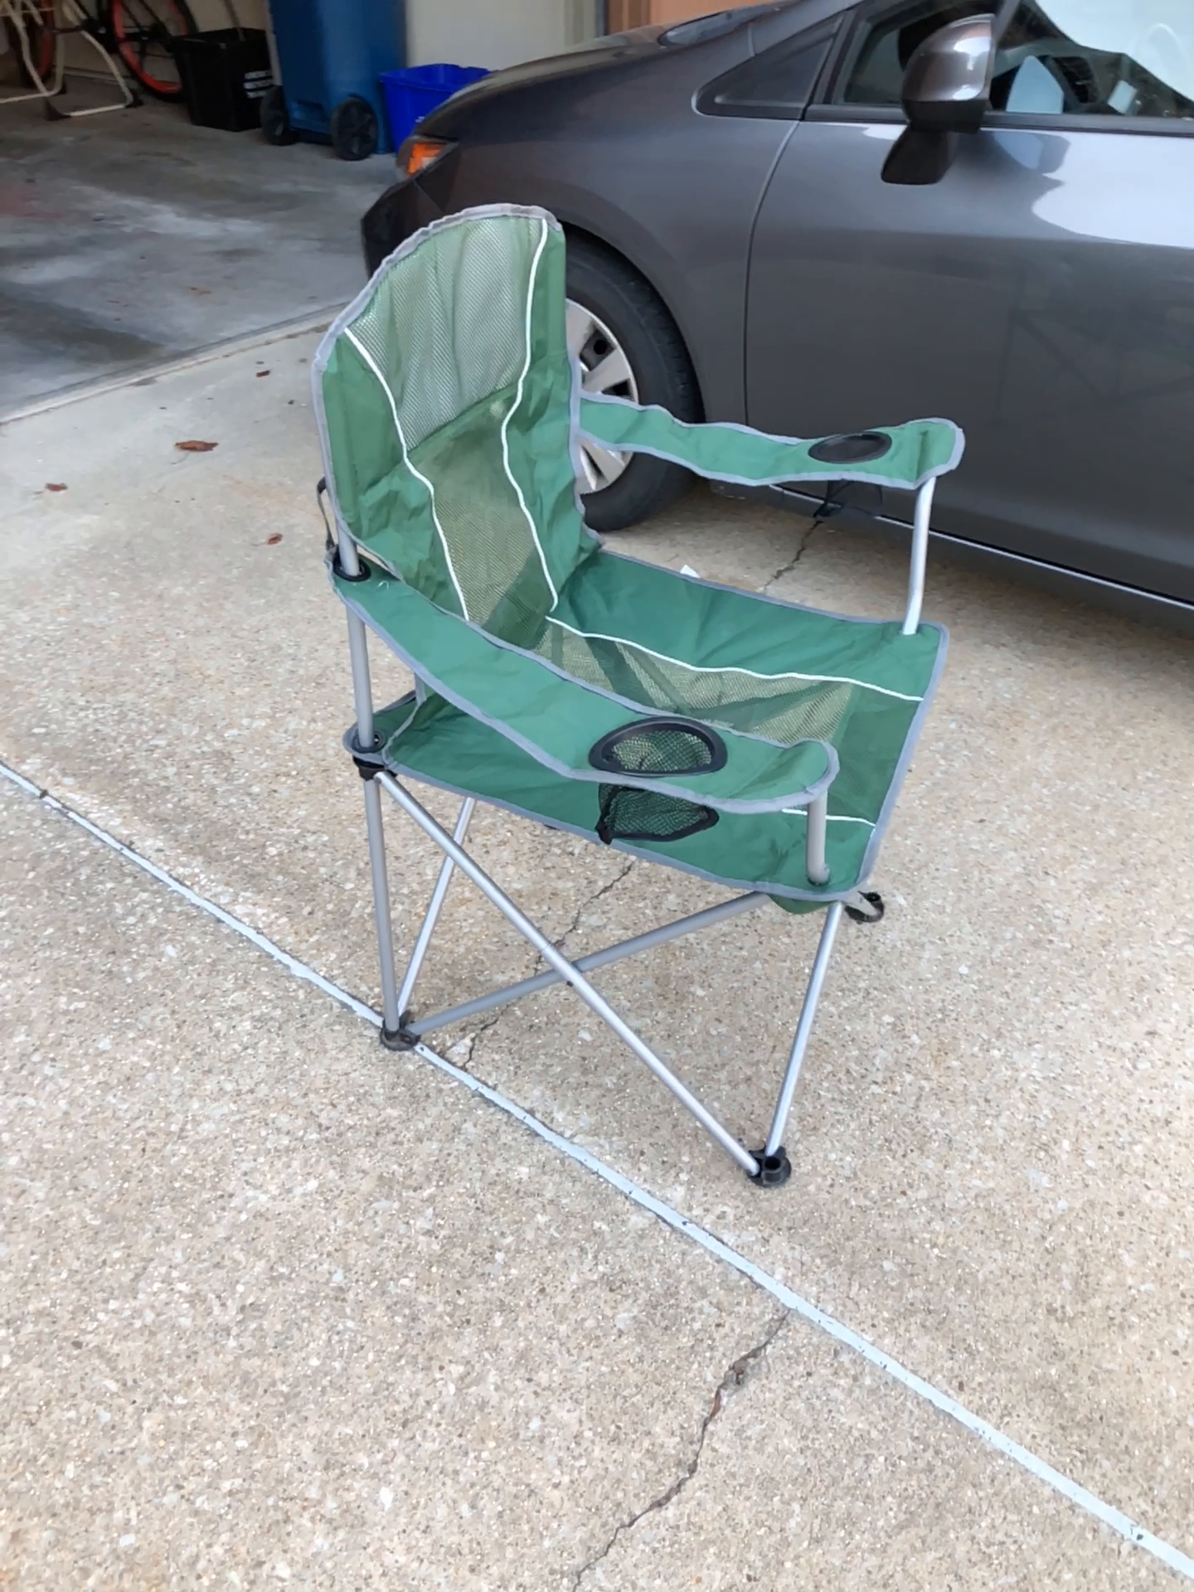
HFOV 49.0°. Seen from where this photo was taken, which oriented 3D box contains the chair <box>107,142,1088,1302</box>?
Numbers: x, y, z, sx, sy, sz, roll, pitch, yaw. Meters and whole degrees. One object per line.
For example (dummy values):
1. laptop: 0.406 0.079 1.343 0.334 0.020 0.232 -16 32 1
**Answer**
1. chair: 0.078 -0.148 1.479 0.640 0.908 0.822 14 38 18
